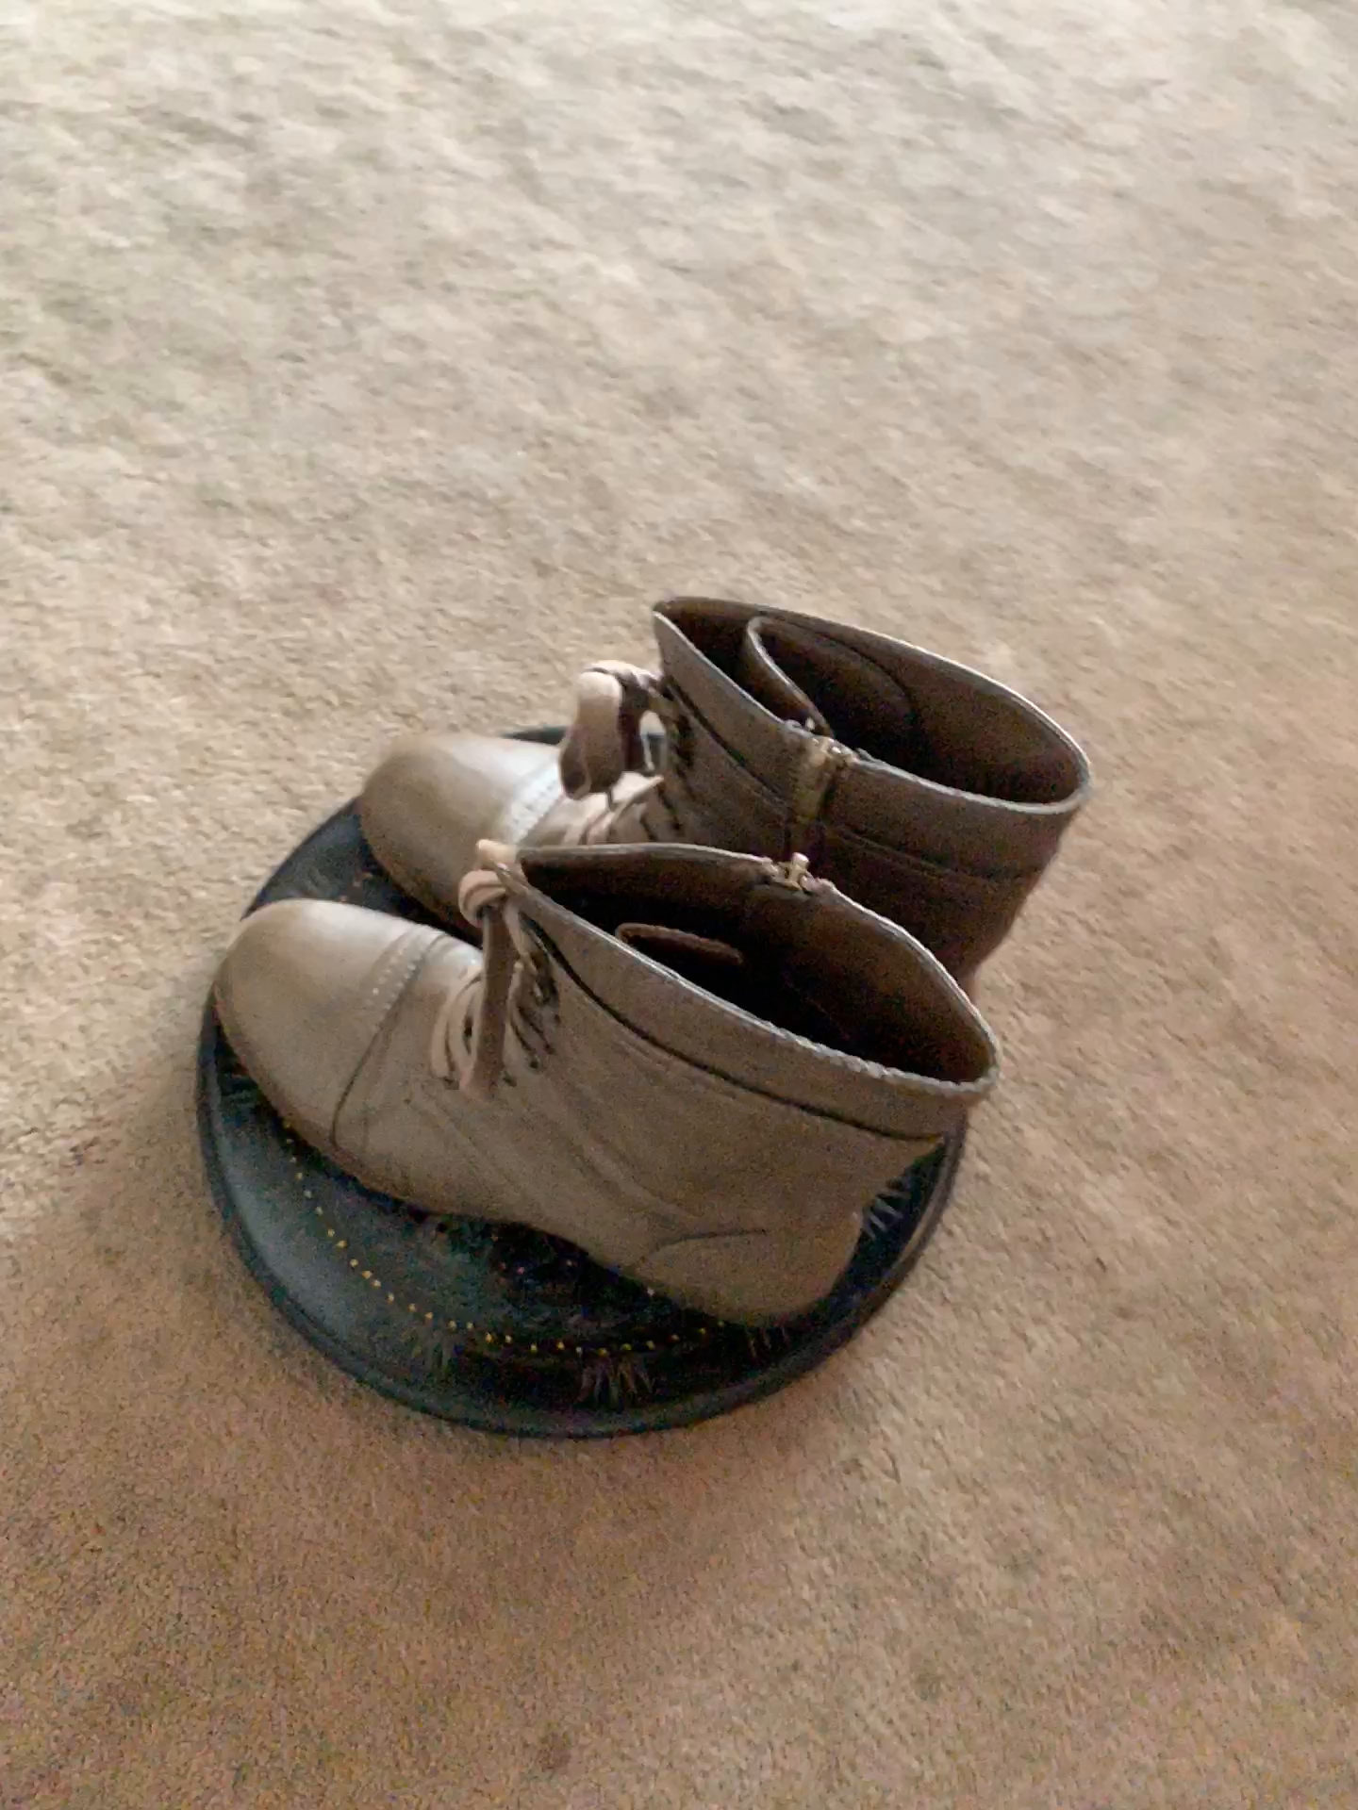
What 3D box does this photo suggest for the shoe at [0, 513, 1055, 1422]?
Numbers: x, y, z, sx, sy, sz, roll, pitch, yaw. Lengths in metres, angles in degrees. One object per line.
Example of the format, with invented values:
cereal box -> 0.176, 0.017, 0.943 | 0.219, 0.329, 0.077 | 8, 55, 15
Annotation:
shoe -> -0.055, 0.033, 0.436 | 0.270, 0.199, 0.101 | 26, 64, 10

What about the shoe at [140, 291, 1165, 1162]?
shoe -> -0.013, -0.048, 0.478 | 0.270, 0.199, 0.101 | 26, 64, 10
